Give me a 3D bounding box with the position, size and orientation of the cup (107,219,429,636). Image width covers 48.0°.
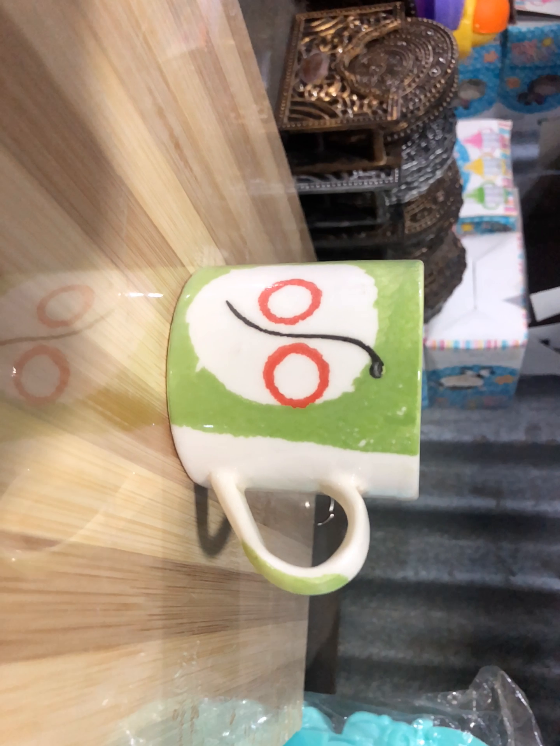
[{"bbox_3d":[0.007,0.018,0.186,0.070,0.070,0.100,70,24,-61],"label":"cup"}]
